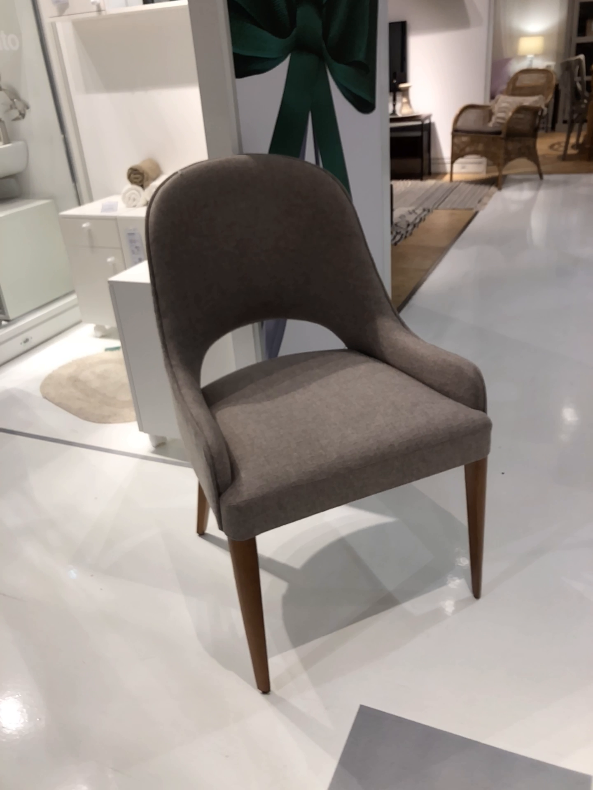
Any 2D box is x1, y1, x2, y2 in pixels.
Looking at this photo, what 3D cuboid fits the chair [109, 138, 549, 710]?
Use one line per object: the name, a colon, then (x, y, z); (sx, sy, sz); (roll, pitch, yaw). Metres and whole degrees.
chair: (0.039, -0.005, 1.364); (0.571, 0.894, 0.614); (-15, 28, -20)
